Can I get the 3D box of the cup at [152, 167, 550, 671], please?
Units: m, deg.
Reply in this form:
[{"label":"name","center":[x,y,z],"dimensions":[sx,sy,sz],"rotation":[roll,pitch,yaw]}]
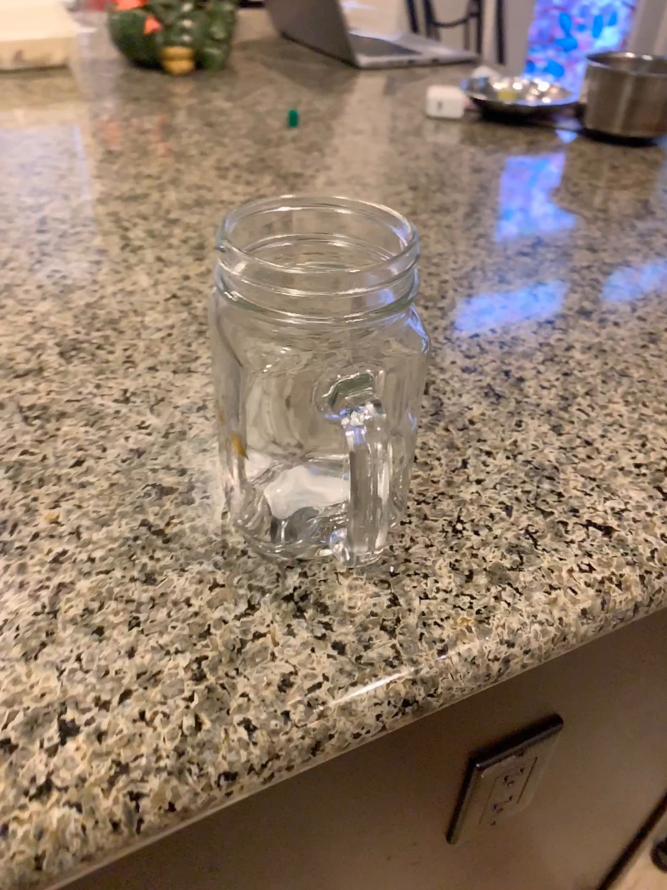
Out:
[{"label":"cup","center":[-0.006,-0.016,0.247],"dimensions":[0.080,0.119,0.121],"rotation":[-13,41,-19]}]
